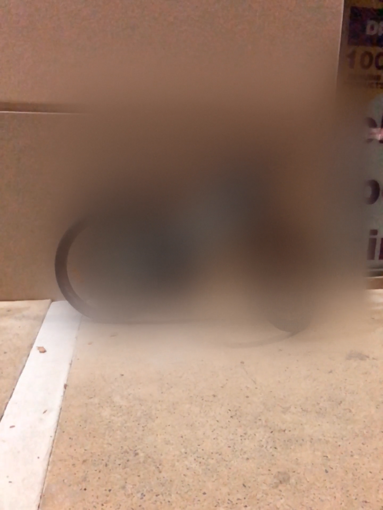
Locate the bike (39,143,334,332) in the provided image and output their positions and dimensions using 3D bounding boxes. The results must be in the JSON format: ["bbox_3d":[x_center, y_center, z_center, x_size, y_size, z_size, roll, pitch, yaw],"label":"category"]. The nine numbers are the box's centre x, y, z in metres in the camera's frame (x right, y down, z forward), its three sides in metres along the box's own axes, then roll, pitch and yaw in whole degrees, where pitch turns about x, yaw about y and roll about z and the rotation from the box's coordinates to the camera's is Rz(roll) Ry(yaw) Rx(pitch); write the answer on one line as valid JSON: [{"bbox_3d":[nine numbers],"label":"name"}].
[{"bbox_3d":[0.002,-0.166,2.688,1.603,1.064,0.589,-1,14,-6],"label":"bike"}]
